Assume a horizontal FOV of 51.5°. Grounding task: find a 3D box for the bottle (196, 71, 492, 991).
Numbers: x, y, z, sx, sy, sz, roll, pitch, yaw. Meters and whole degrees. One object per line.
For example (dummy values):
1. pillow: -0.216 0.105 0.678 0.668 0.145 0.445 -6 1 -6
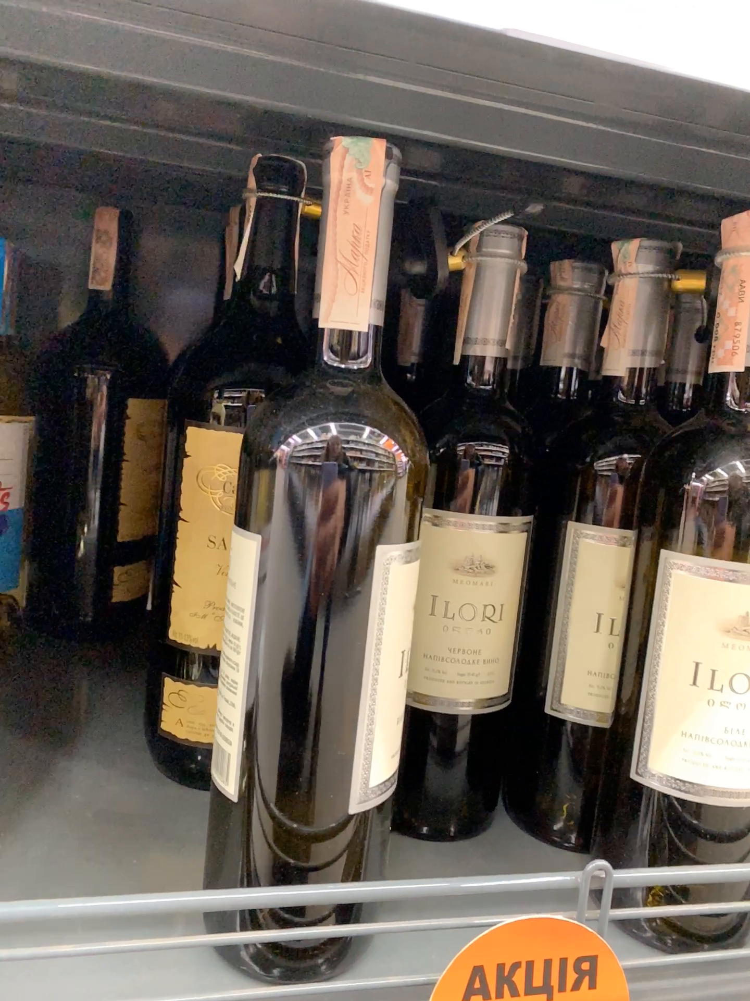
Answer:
1. bottle: -0.019 0.020 0.304 0.069 0.319 0.070 6 8 -1
